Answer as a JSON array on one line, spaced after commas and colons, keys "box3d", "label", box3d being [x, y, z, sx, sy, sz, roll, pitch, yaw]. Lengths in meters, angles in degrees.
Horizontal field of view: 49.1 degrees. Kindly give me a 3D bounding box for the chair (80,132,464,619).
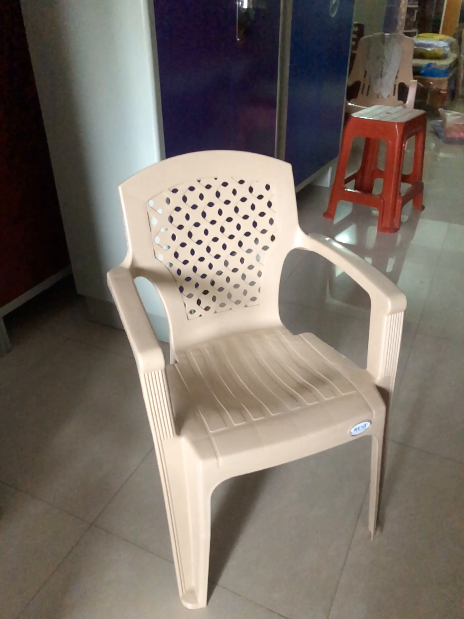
[{"box3d": [0.046, 0.113, 1.115, 0.541, 0.796, 0.562, -12, 34, -17], "label": "chair"}]
